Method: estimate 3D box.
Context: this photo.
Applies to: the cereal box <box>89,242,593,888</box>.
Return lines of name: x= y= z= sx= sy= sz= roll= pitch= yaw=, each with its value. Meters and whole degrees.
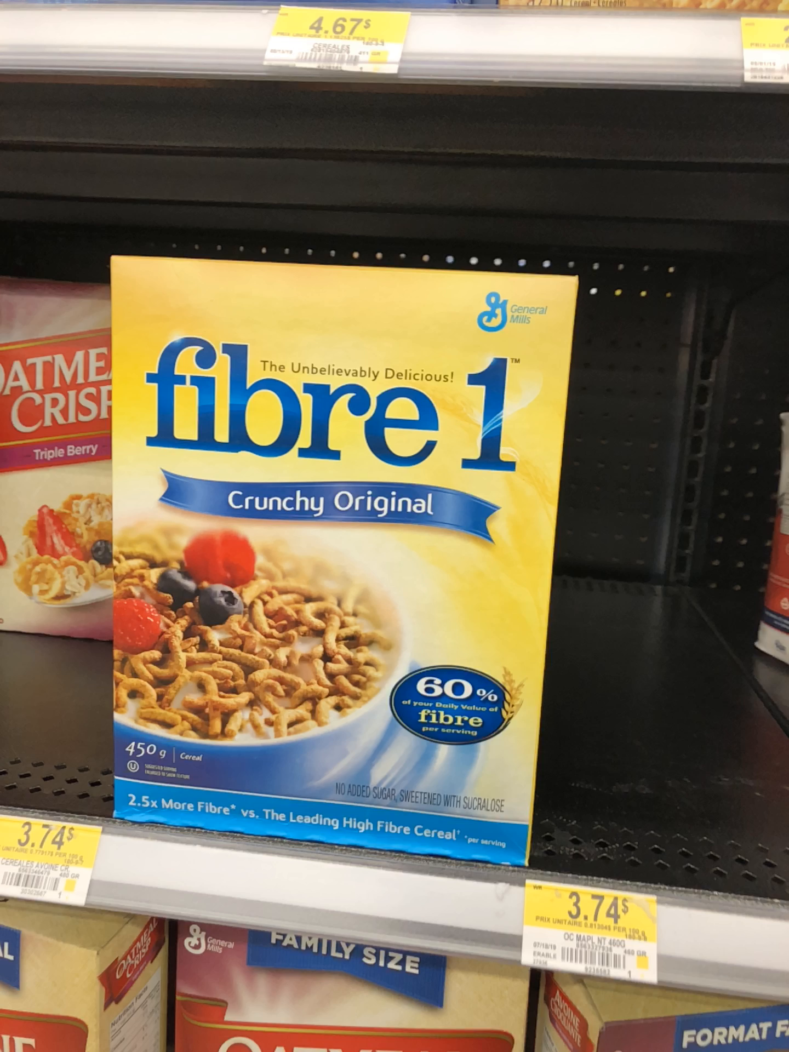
cereal box: x=-0.028 y=0.015 z=0.393 sx=0.200 sy=0.259 sz=0.060 roll=5 pitch=11 yaw=7
